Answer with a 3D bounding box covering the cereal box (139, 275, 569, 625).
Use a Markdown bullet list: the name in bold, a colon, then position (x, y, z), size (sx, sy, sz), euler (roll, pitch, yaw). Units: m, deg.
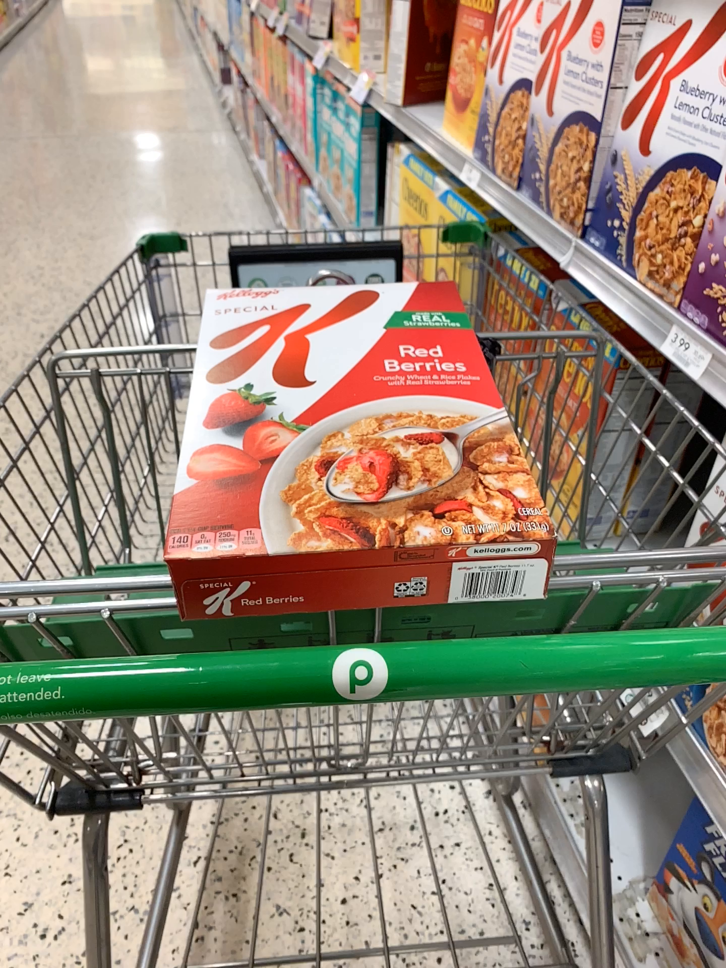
- **cereal box**: position (-0.014, -0.044, 0.472), size (0.200, 0.049, 0.283), euler (-3, 40, -4)
